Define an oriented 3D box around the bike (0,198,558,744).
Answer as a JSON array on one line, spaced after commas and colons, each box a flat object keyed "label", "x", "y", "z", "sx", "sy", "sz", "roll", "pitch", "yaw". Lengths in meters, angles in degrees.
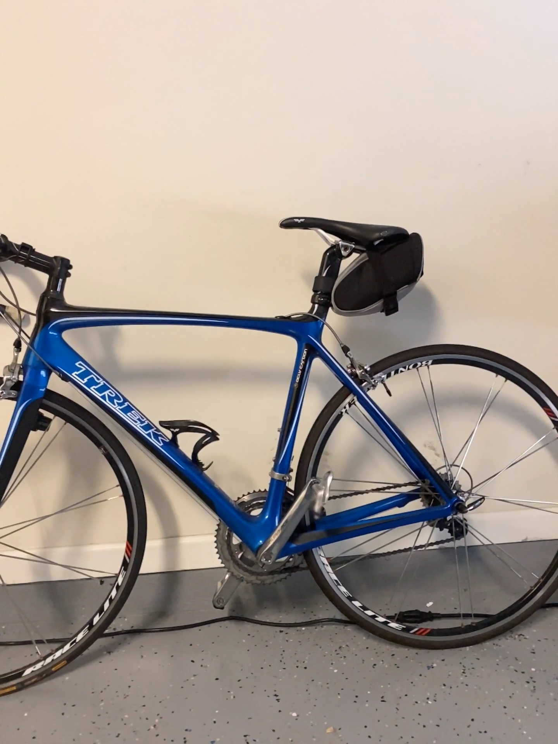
[{"label": "bike", "x": -0.034, "y": 0.228, "z": 1.114, "sx": 1.638, "sy": 0.883, "sz": 0.401, "roll": -1, "pitch": 8, "yaw": -16}]
